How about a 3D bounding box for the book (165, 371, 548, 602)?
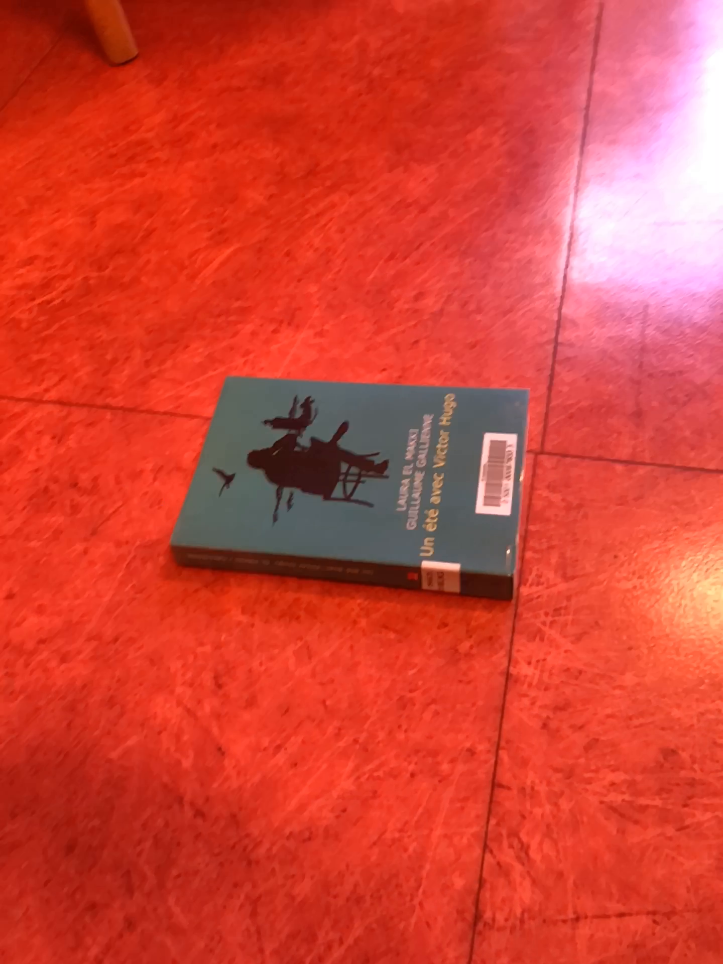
[{"bbox_3d":[0.002,-0.004,0.391,0.170,0.020,0.110,4,57,12],"label":"book"}]
